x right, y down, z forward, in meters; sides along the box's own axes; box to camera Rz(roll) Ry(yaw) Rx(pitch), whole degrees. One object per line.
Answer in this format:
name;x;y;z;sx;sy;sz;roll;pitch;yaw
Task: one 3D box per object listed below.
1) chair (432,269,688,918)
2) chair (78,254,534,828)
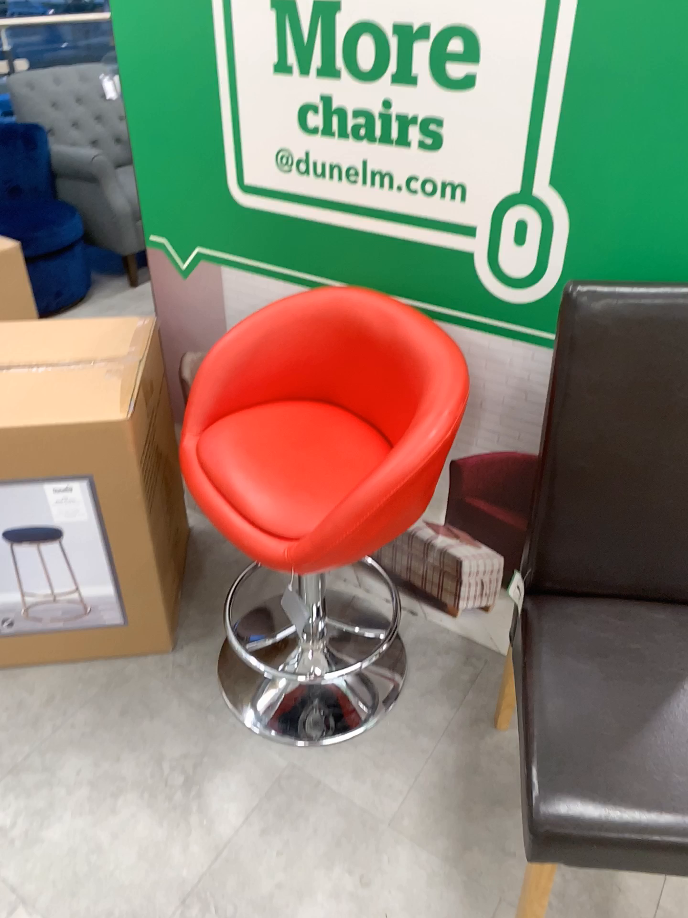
chair;0.412;0.259;0.952;0.504;0.852;0.536;2;34;3
chair;-0.073;0.115;1.278;0.462;0.743;0.537;-25;42;-32
